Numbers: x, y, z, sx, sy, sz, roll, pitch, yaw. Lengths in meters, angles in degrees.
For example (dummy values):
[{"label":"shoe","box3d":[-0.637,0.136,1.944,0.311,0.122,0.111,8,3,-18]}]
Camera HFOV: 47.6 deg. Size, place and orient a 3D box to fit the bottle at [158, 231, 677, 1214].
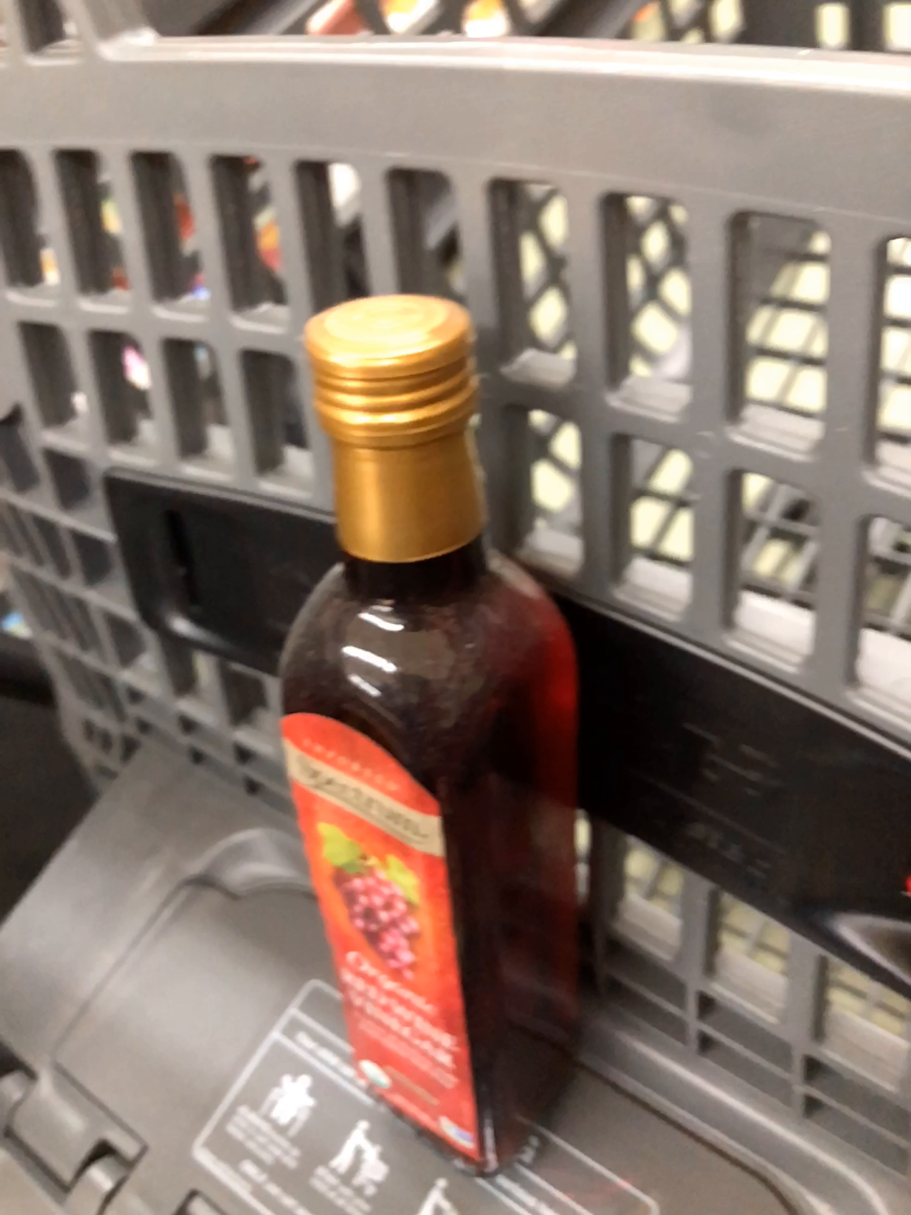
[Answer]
[{"label":"bottle","box3d":[0.005,0.051,0.275,0.070,0.270,0.070,-4,36,3]}]
